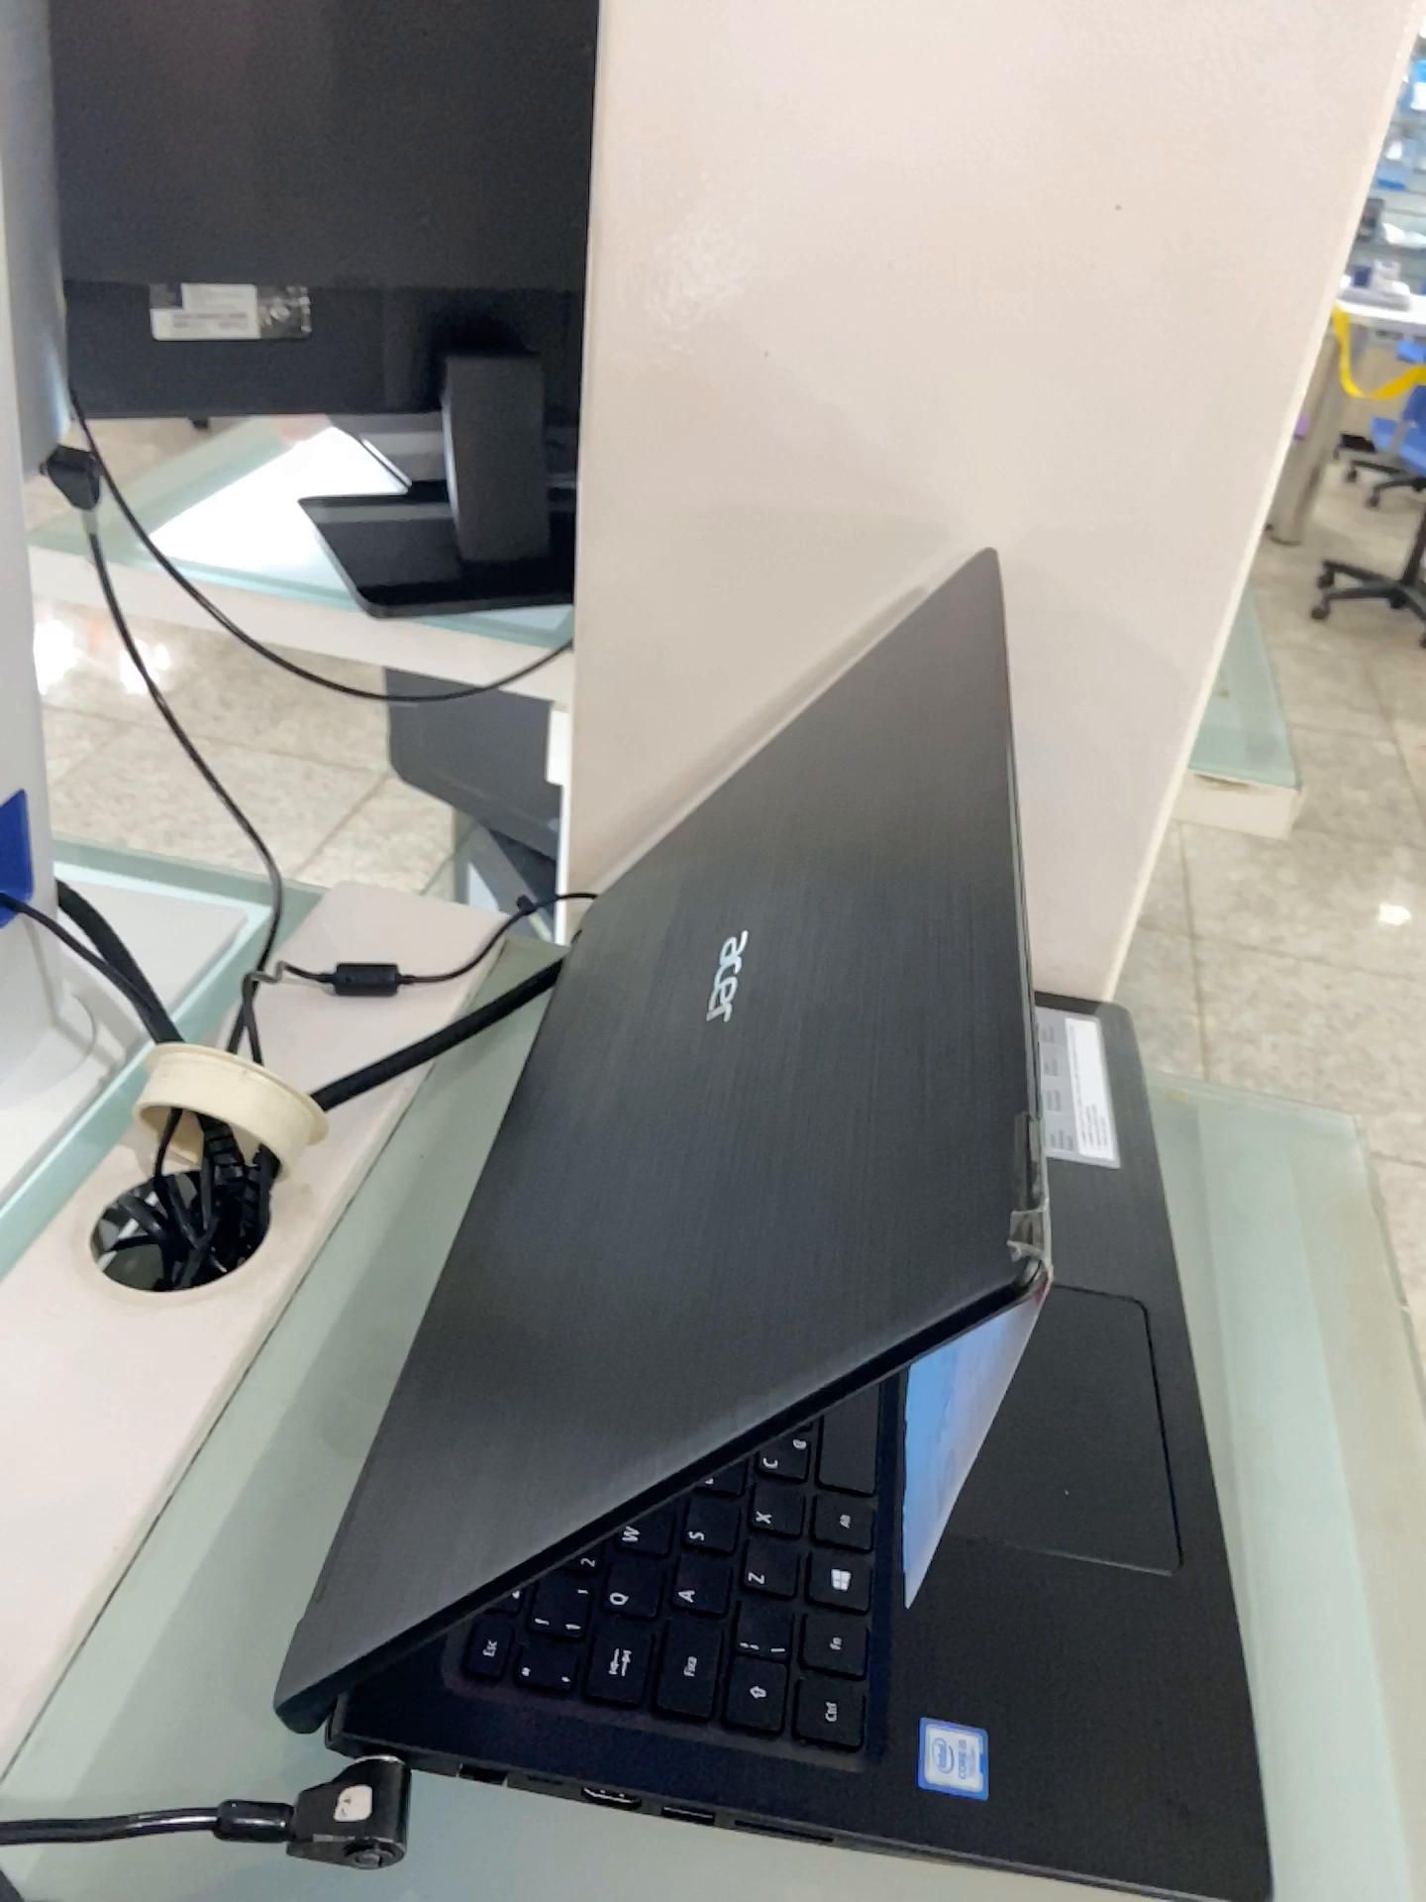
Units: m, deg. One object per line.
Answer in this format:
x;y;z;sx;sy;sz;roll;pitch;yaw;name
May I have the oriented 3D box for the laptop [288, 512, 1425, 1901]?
0.057;0.034;0.464;0.233;0.193;0.369;10;35;3;laptop
